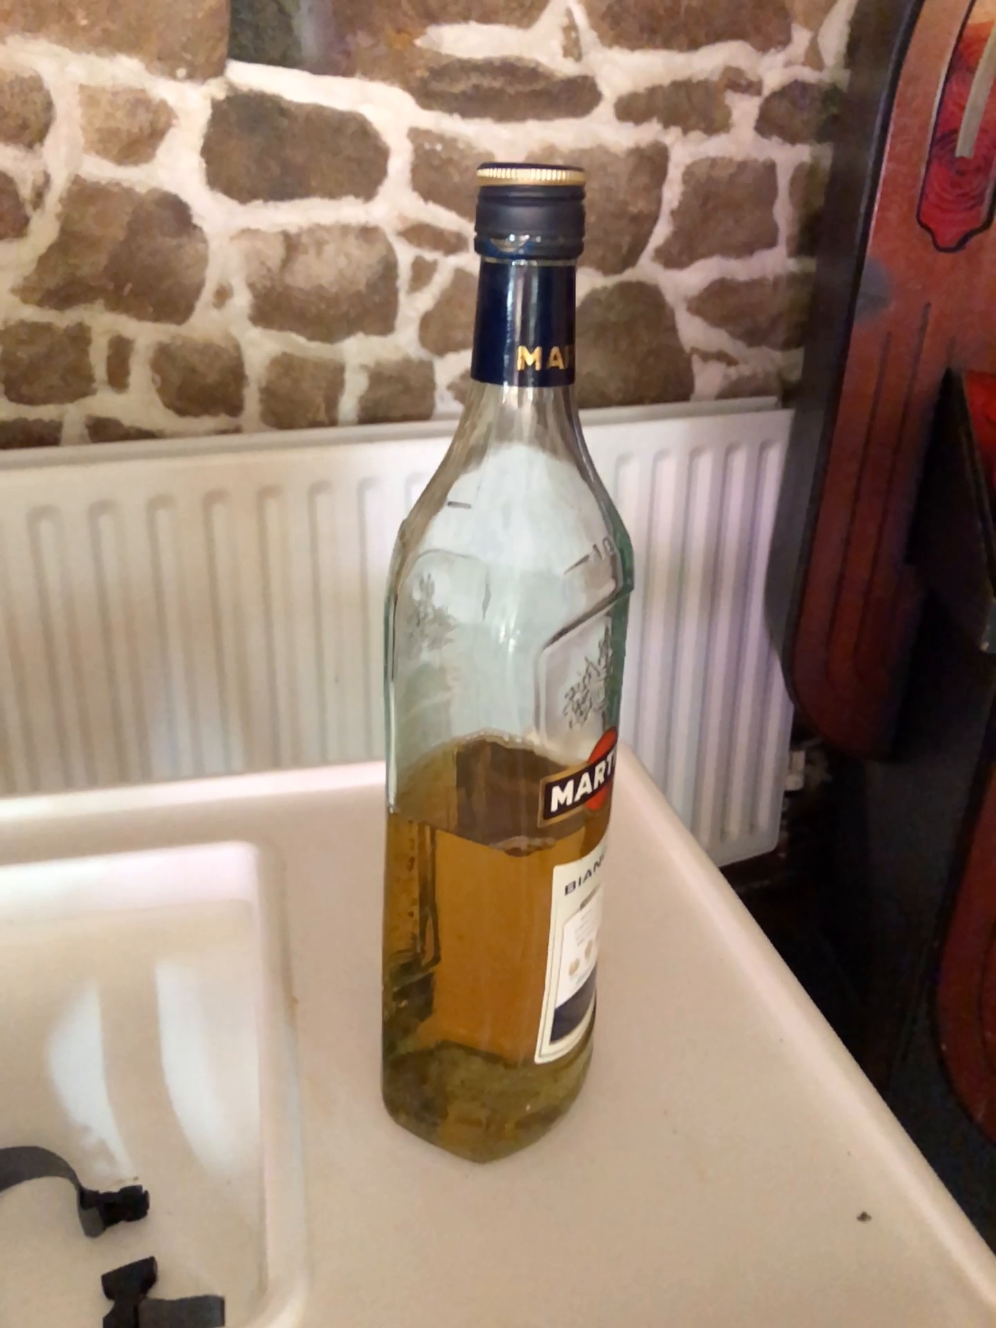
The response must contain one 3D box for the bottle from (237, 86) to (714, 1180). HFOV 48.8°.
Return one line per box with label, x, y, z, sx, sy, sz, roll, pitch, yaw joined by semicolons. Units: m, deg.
bottle;-0.001;-0.004;0.355;0.080;0.318;0.111;14;28;27
